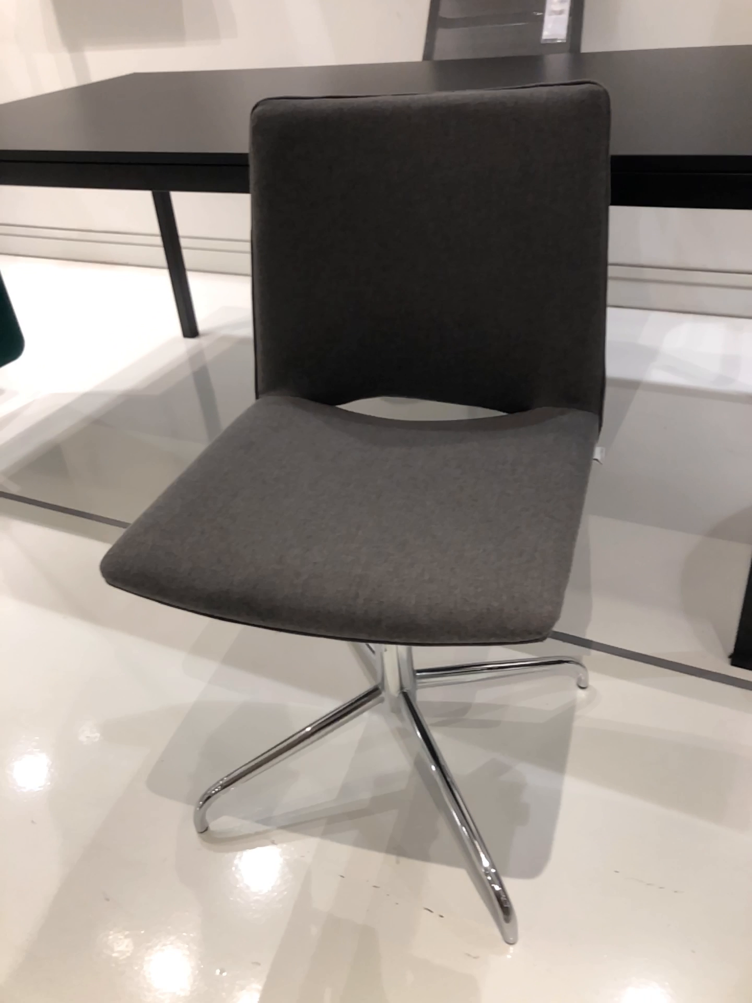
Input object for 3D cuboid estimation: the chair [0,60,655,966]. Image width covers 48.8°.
[{"bbox_3d":[0.016,-0.006,0.989,0.520,0.834,0.554,5,35,17],"label":"chair"}]
